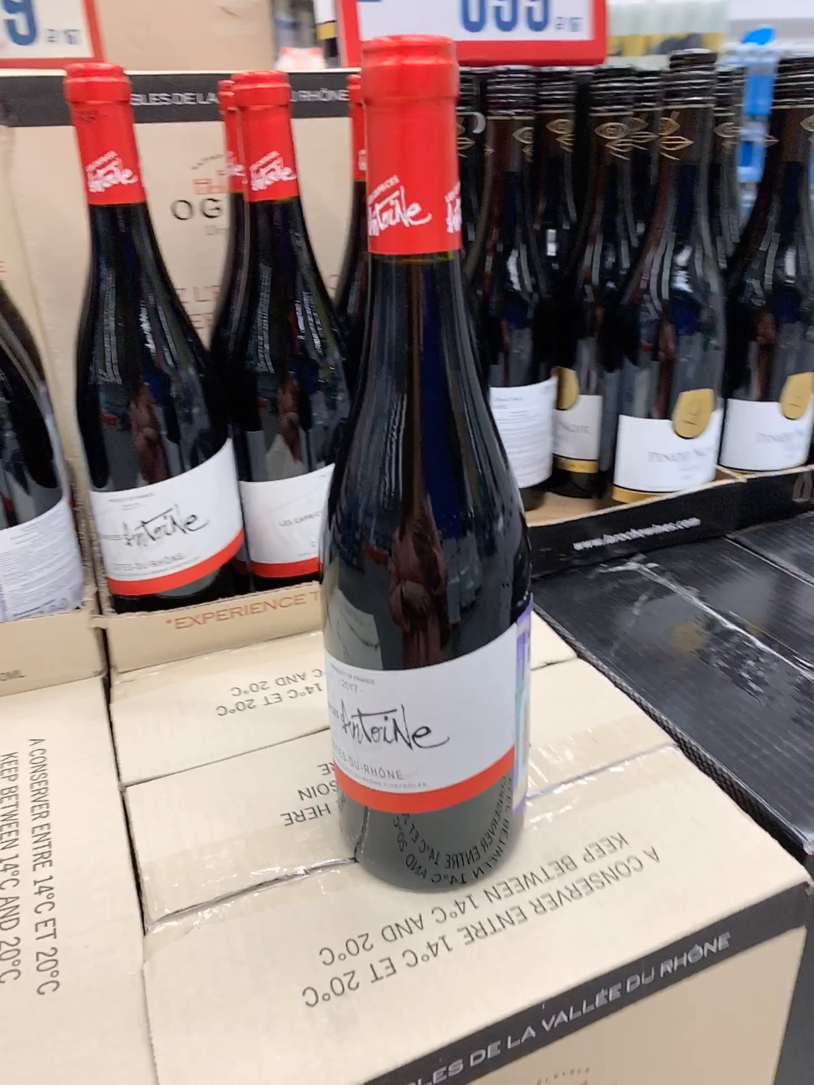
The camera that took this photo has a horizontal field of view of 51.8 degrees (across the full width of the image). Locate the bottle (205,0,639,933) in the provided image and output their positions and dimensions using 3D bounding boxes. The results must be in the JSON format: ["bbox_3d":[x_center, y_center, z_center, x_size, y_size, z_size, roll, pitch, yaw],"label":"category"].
[{"bbox_3d":[0.009,-0.015,0.306,0.090,0.298,0.090,-1,26,0],"label":"bottle"}]
